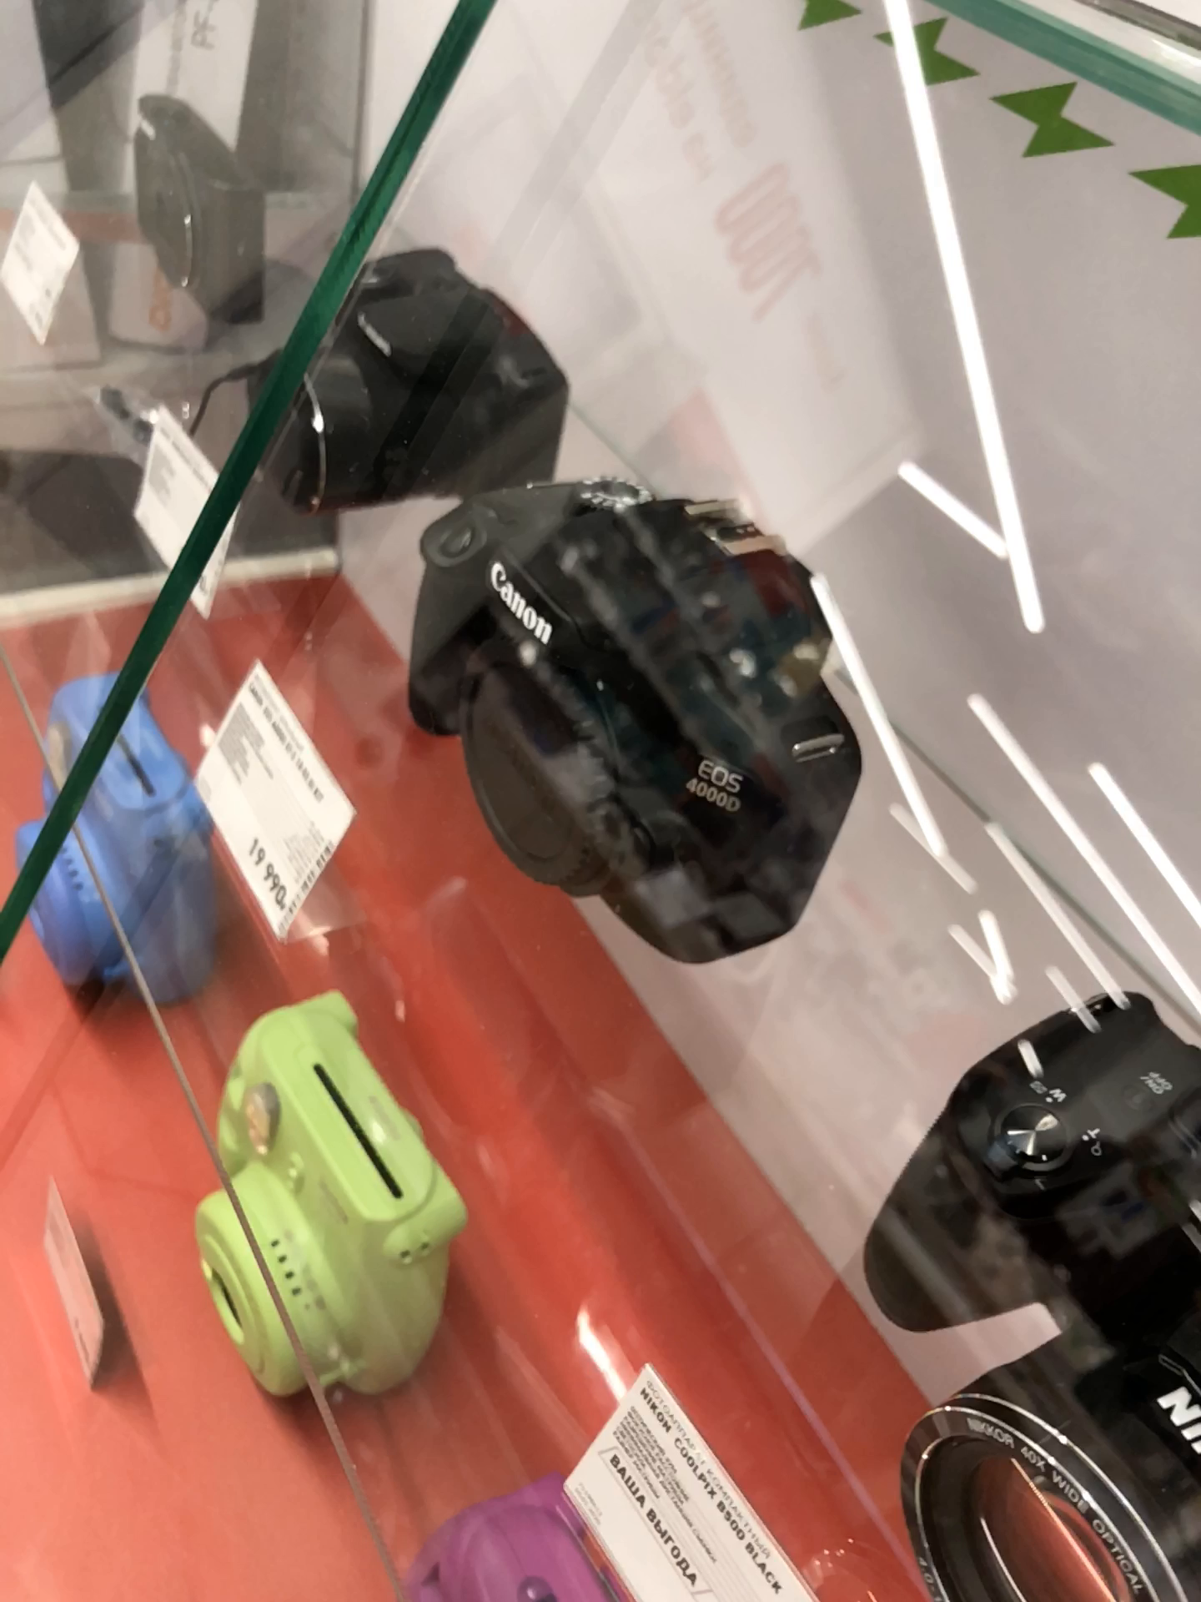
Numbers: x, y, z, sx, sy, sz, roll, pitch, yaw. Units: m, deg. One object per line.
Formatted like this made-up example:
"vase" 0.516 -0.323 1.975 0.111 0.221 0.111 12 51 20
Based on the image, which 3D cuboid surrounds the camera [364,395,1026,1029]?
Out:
"camera" 0.015 -0.032 0.356 0.100 0.083 0.136 -17 50 -31
